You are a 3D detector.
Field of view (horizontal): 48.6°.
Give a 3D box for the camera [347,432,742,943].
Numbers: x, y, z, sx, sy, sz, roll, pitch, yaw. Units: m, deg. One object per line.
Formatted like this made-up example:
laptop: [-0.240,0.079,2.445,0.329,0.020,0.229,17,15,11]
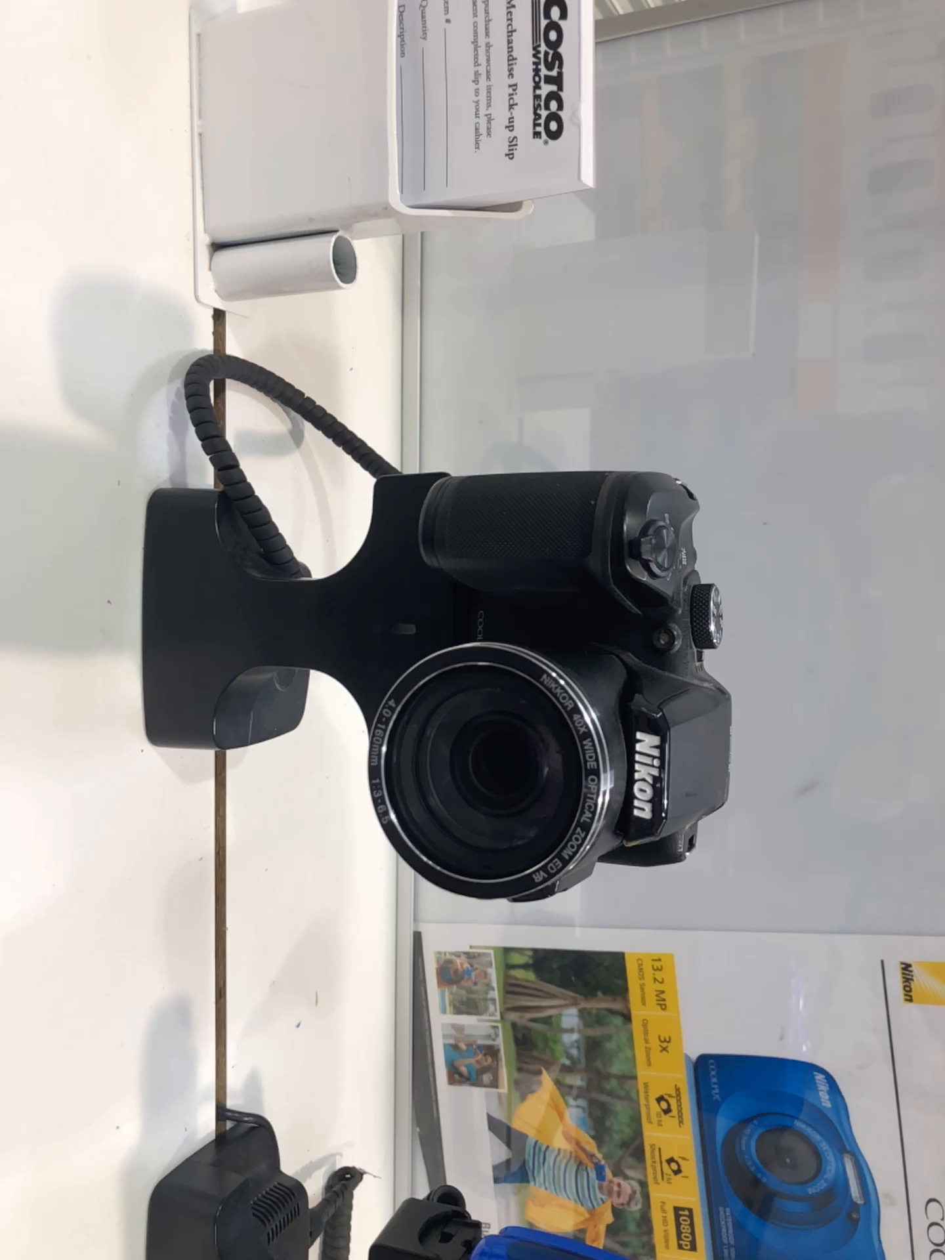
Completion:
camera: [0.027,0.009,0.297,0.101,0.079,0.116,-12,102,-65]
